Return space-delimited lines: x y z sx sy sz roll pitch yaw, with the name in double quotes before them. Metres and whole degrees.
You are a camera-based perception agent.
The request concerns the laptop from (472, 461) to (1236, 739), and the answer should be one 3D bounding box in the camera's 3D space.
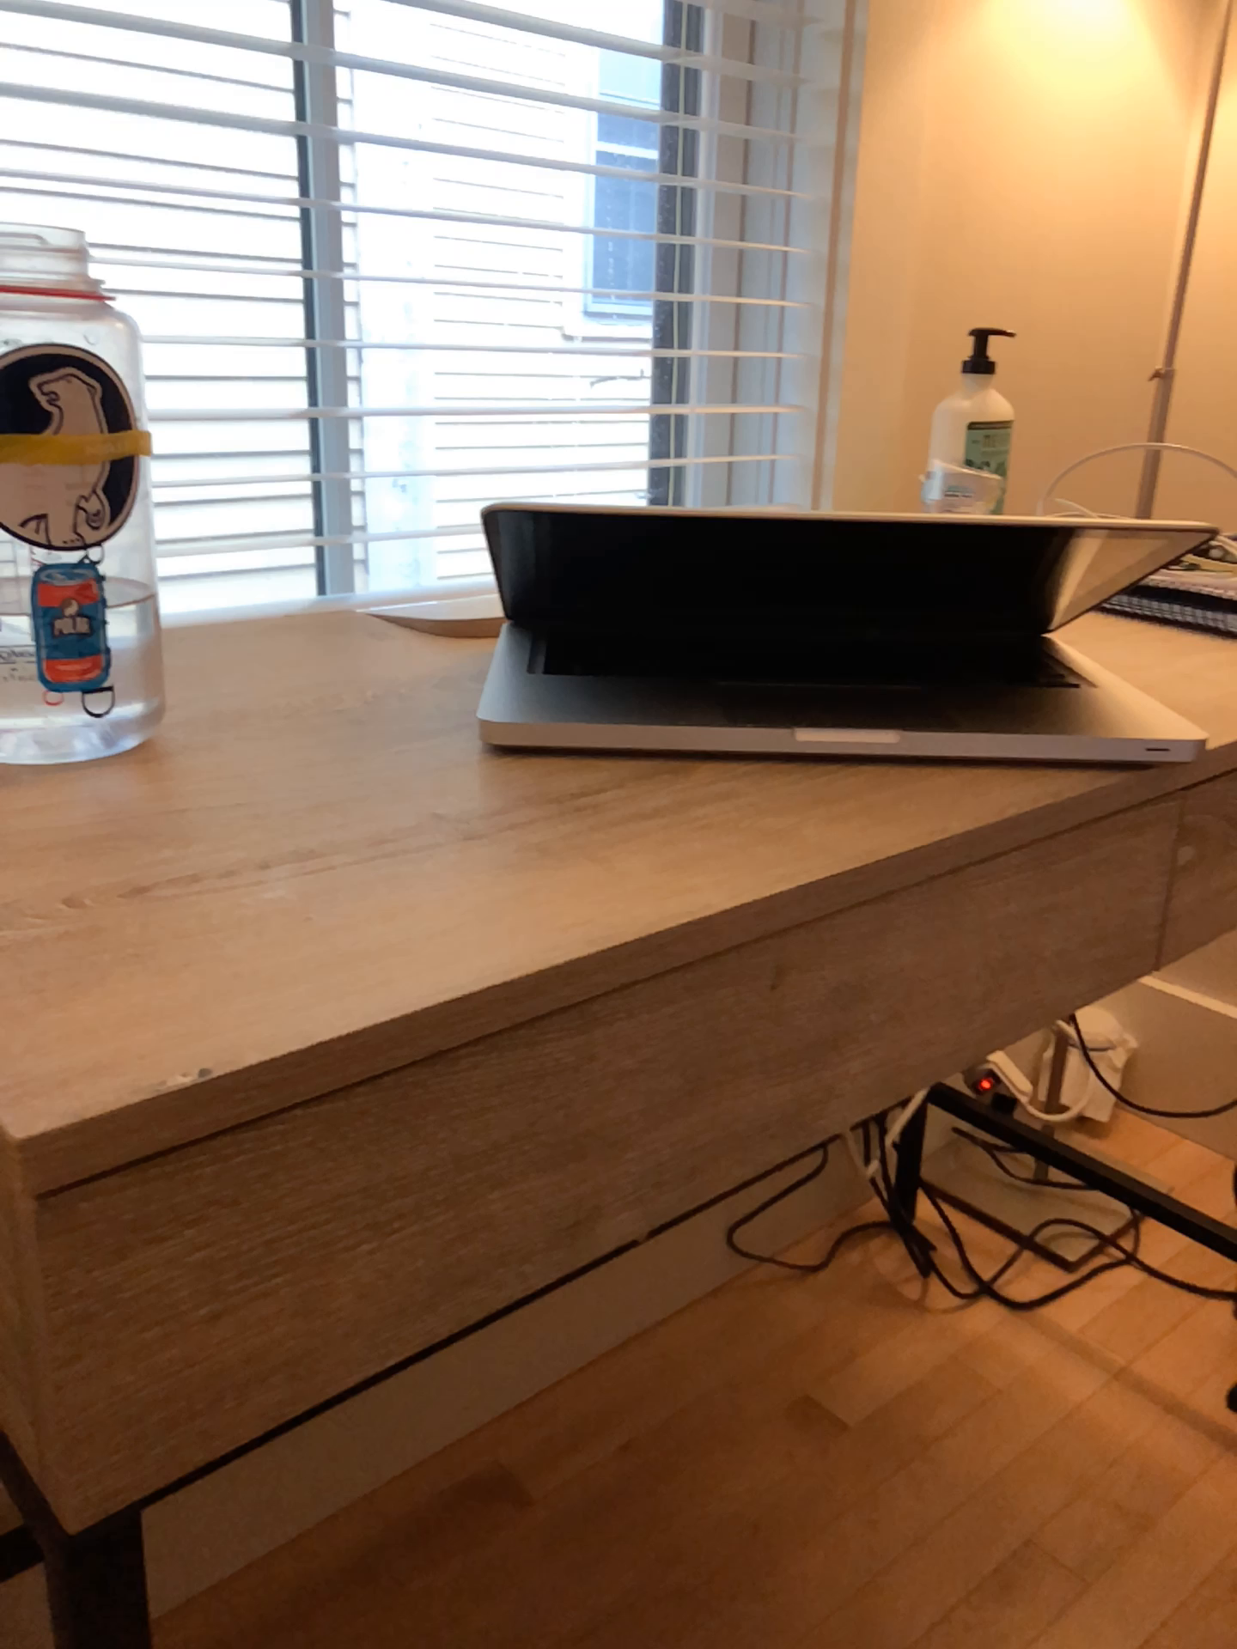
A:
"laptop" 0.090 -0.113 0.637 0.300 0.082 0.210 1 20 -2
